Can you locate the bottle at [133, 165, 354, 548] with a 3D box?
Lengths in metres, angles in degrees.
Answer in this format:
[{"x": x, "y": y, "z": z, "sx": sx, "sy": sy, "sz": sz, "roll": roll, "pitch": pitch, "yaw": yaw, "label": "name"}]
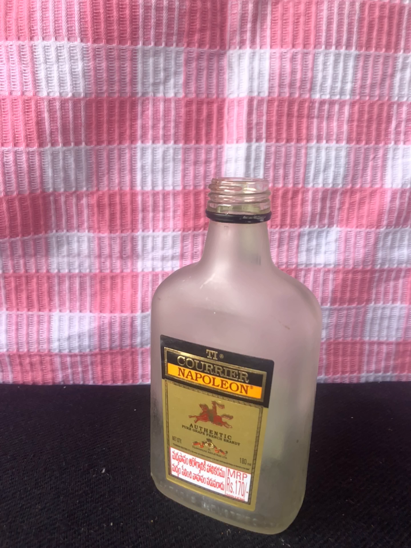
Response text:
[{"x": 0.012, "y": 0.035, "z": 0.190, "sx": 0.070, "sy": 0.149, "sz": 0.040, "roll": 10, "pitch": 18, "yaw": 21, "label": "bottle"}]
